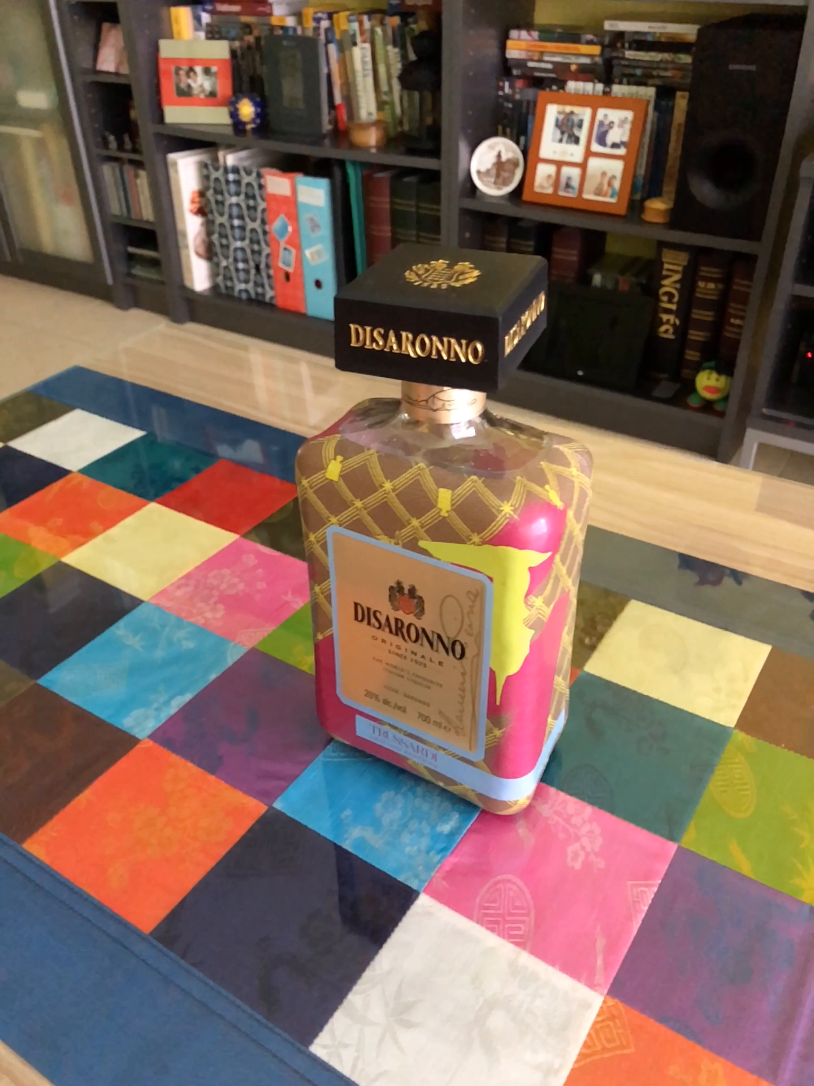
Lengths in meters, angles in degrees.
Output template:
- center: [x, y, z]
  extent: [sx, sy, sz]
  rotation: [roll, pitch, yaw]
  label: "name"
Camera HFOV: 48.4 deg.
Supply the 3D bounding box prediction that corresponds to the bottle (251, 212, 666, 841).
- center: [0.021, -0.003, 0.378]
  extent: [0.120, 0.229, 0.080]
  rotation: [18, 39, 26]
  label: "bottle"
